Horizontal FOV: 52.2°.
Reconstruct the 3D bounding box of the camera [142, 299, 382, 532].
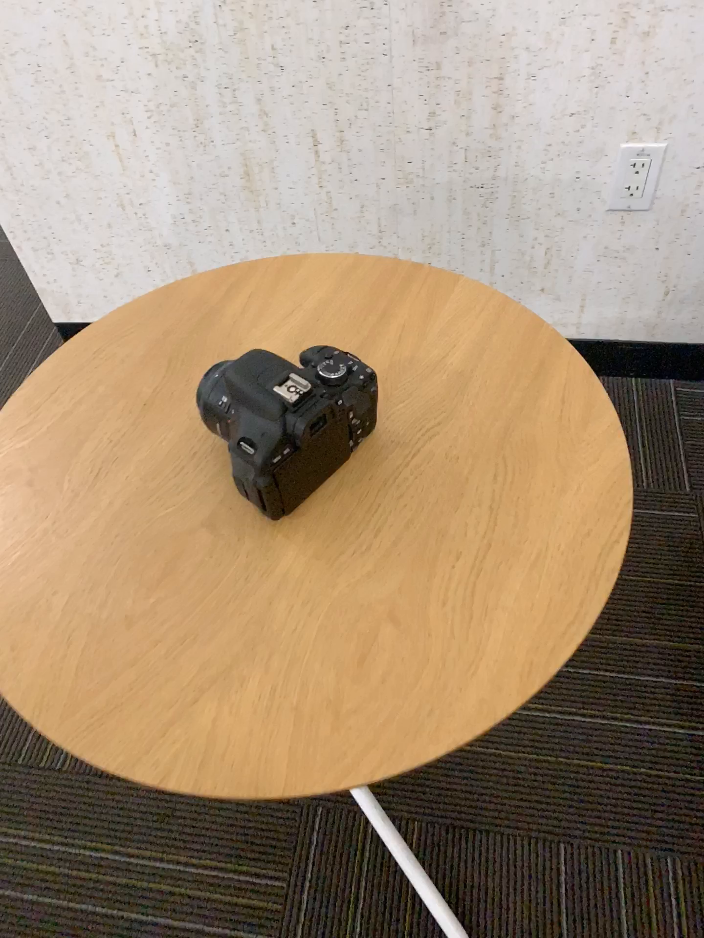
[{"bbox_3d":[-0.065,-0.045,0.557,0.126,0.080,0.120,32,61,26],"label":"camera"}]
